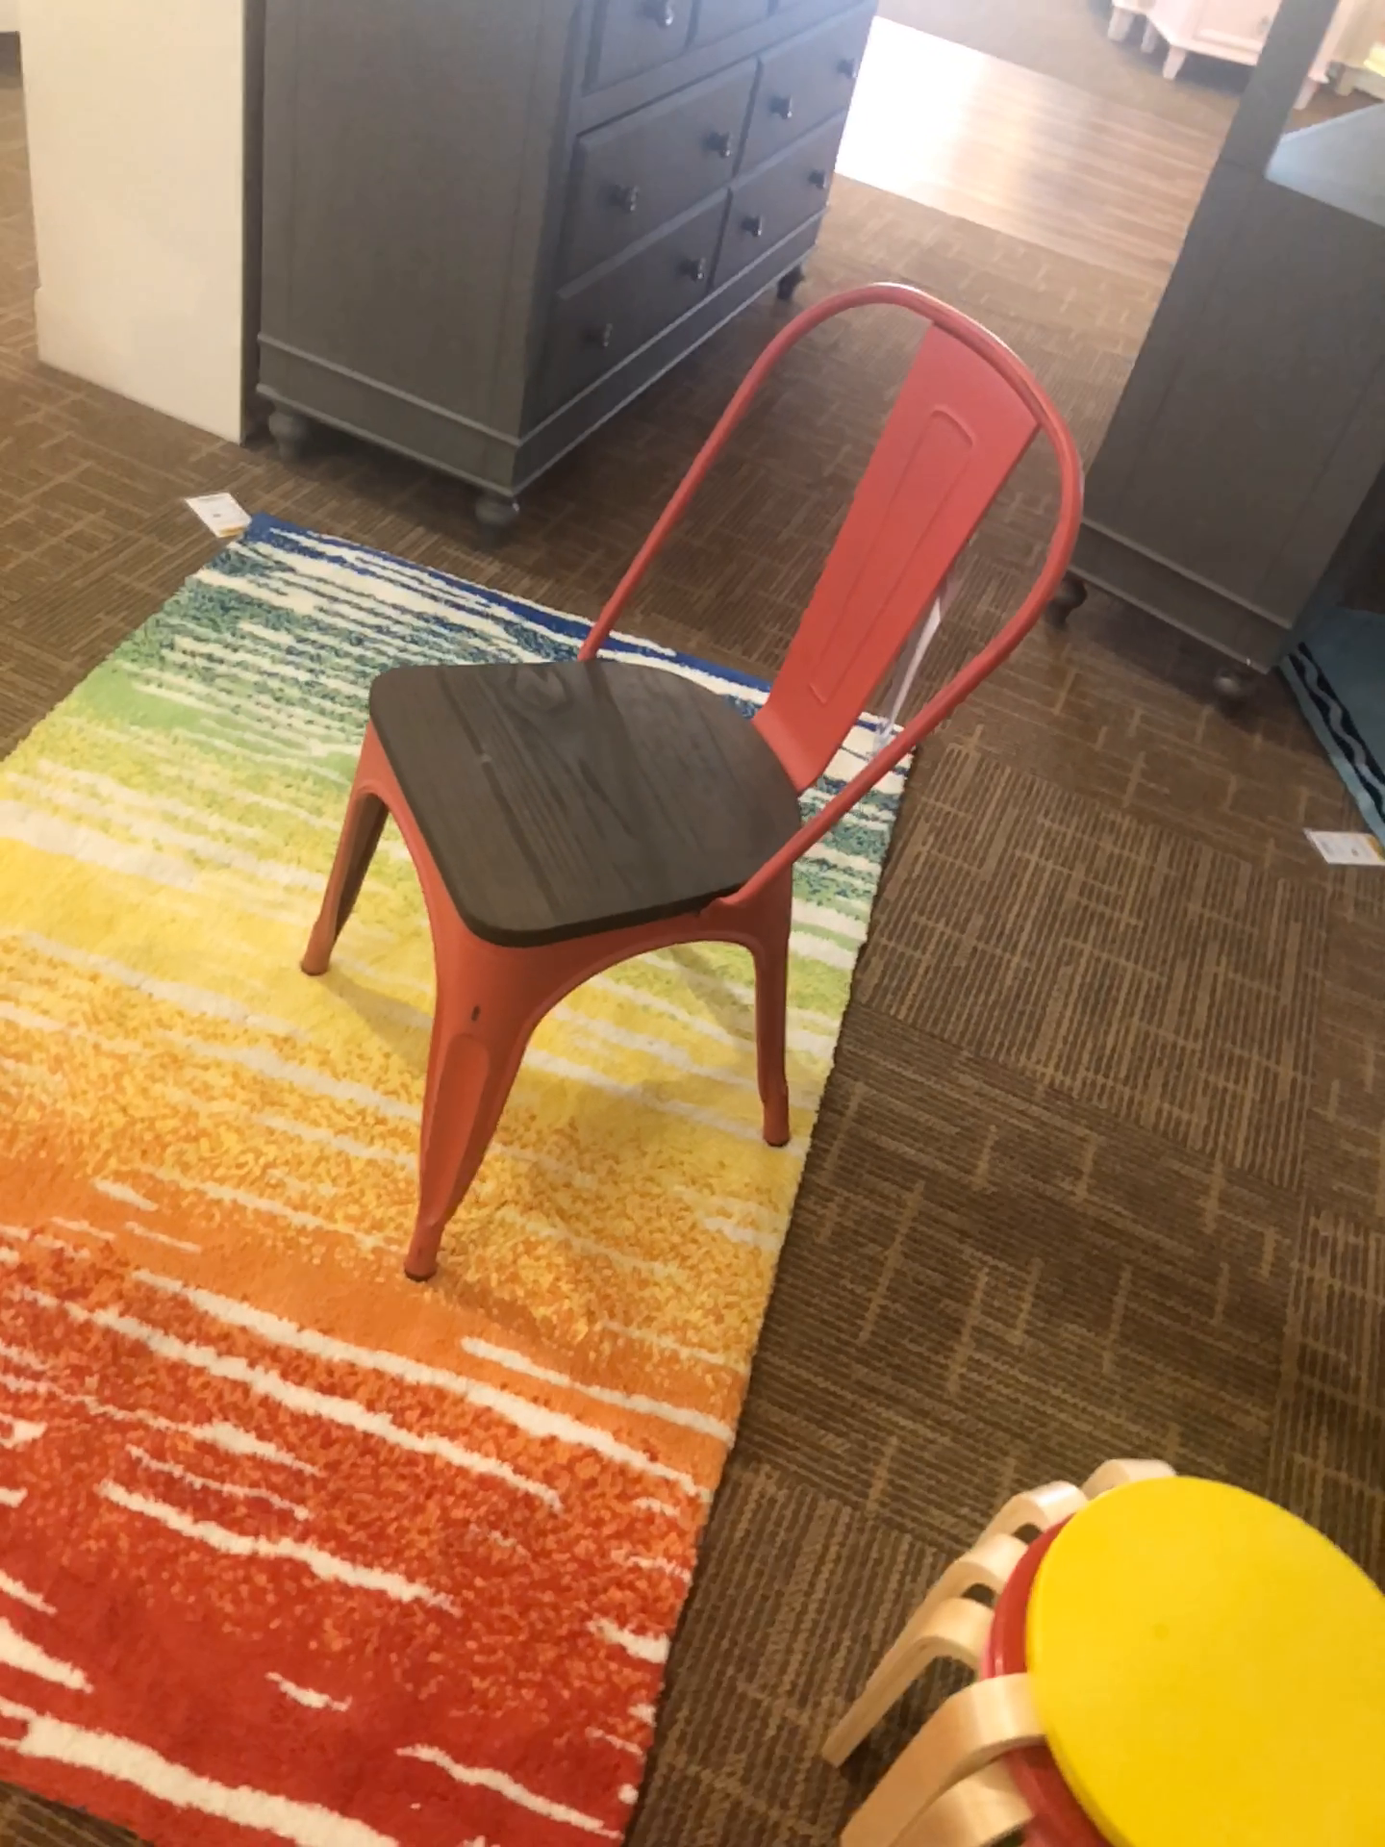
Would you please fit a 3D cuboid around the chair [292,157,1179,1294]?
[{"bbox_3d":[-0.057,-0.141,1.377,0.491,0.856,0.452,-7,47,-24],"label":"chair"}]
